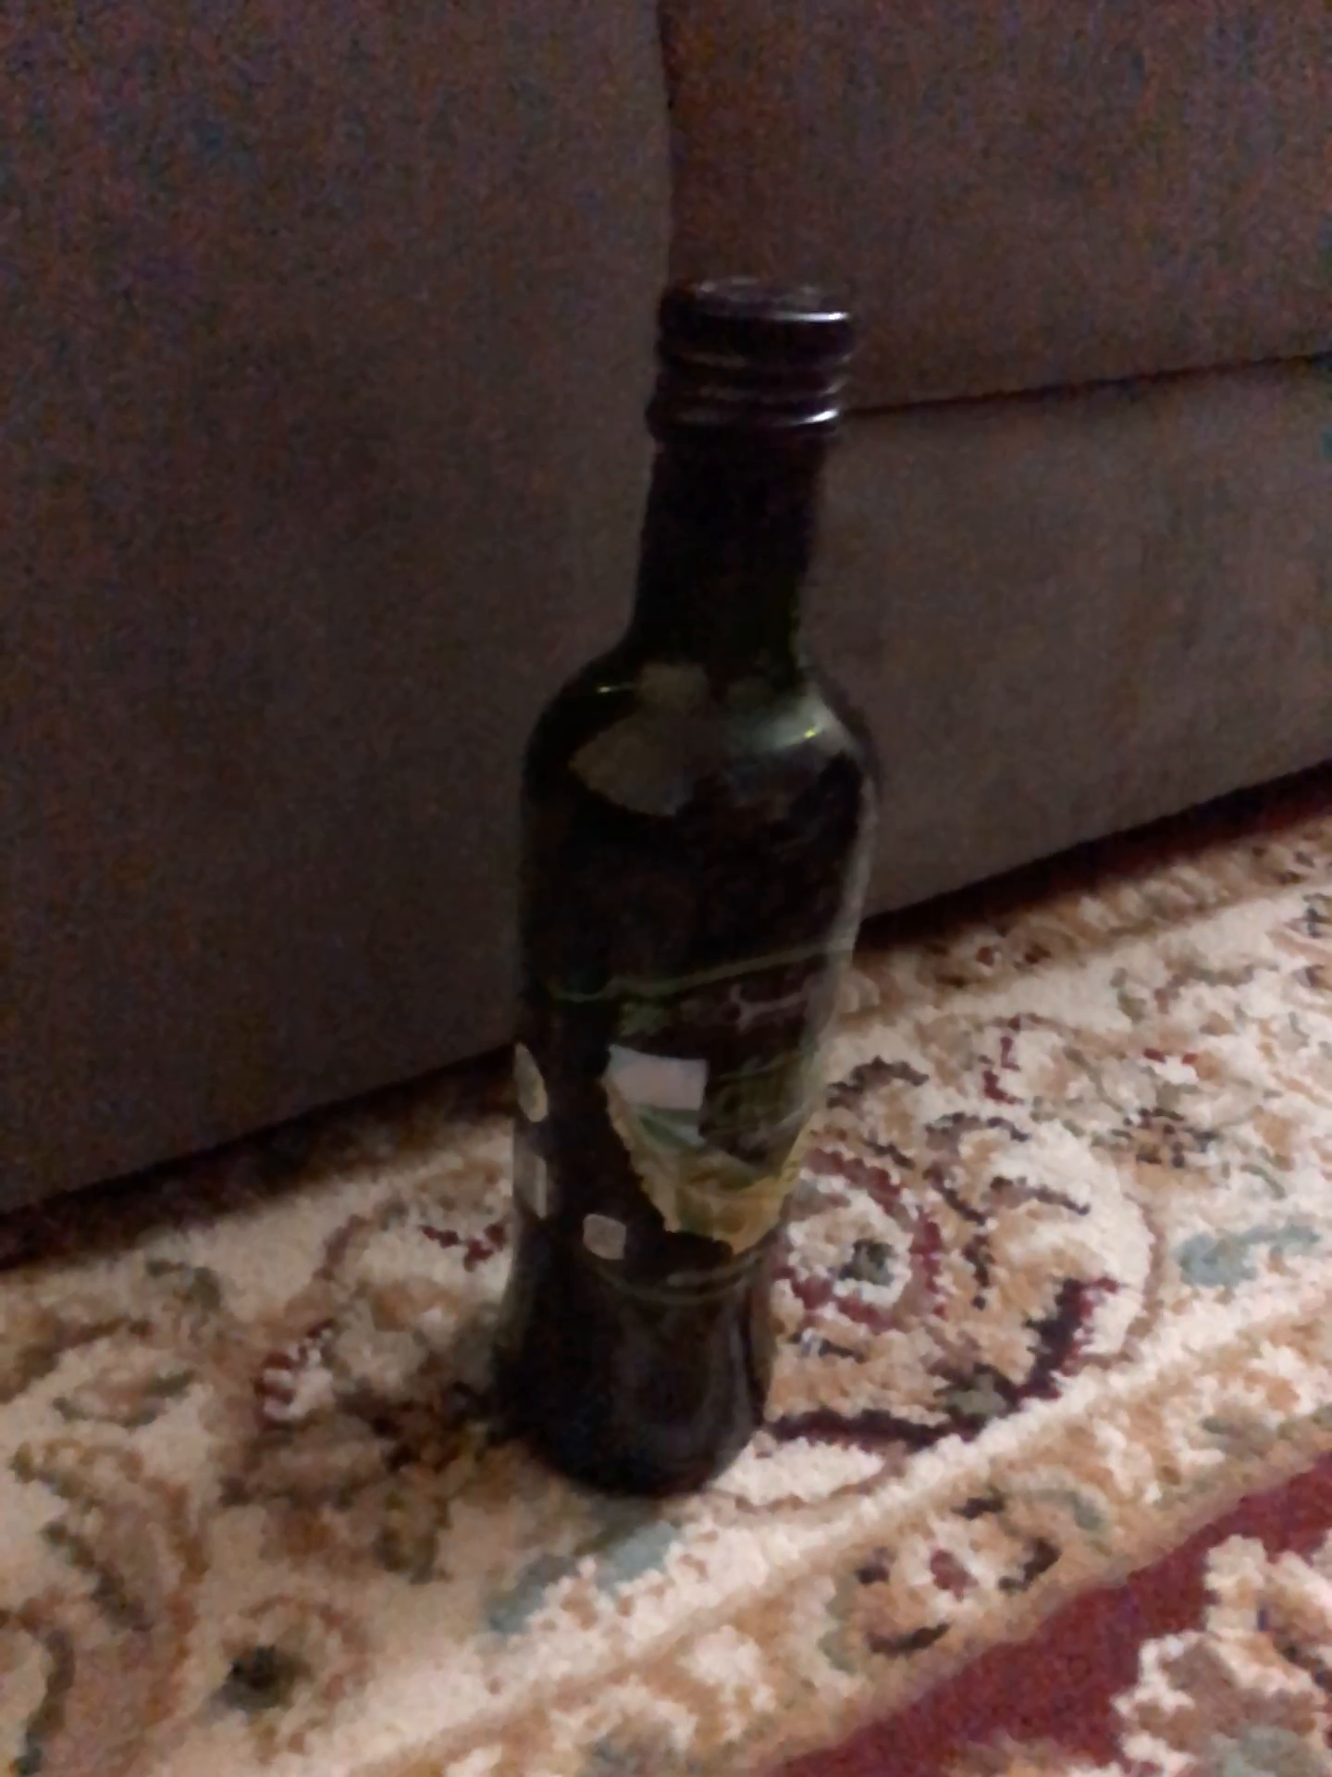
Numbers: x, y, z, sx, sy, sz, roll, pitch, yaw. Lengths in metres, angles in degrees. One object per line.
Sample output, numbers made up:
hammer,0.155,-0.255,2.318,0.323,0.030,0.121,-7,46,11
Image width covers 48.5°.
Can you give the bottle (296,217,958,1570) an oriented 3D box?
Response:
bottle,-0.013,0.011,0.300,0.080,0.259,0.070,-16,35,-29
